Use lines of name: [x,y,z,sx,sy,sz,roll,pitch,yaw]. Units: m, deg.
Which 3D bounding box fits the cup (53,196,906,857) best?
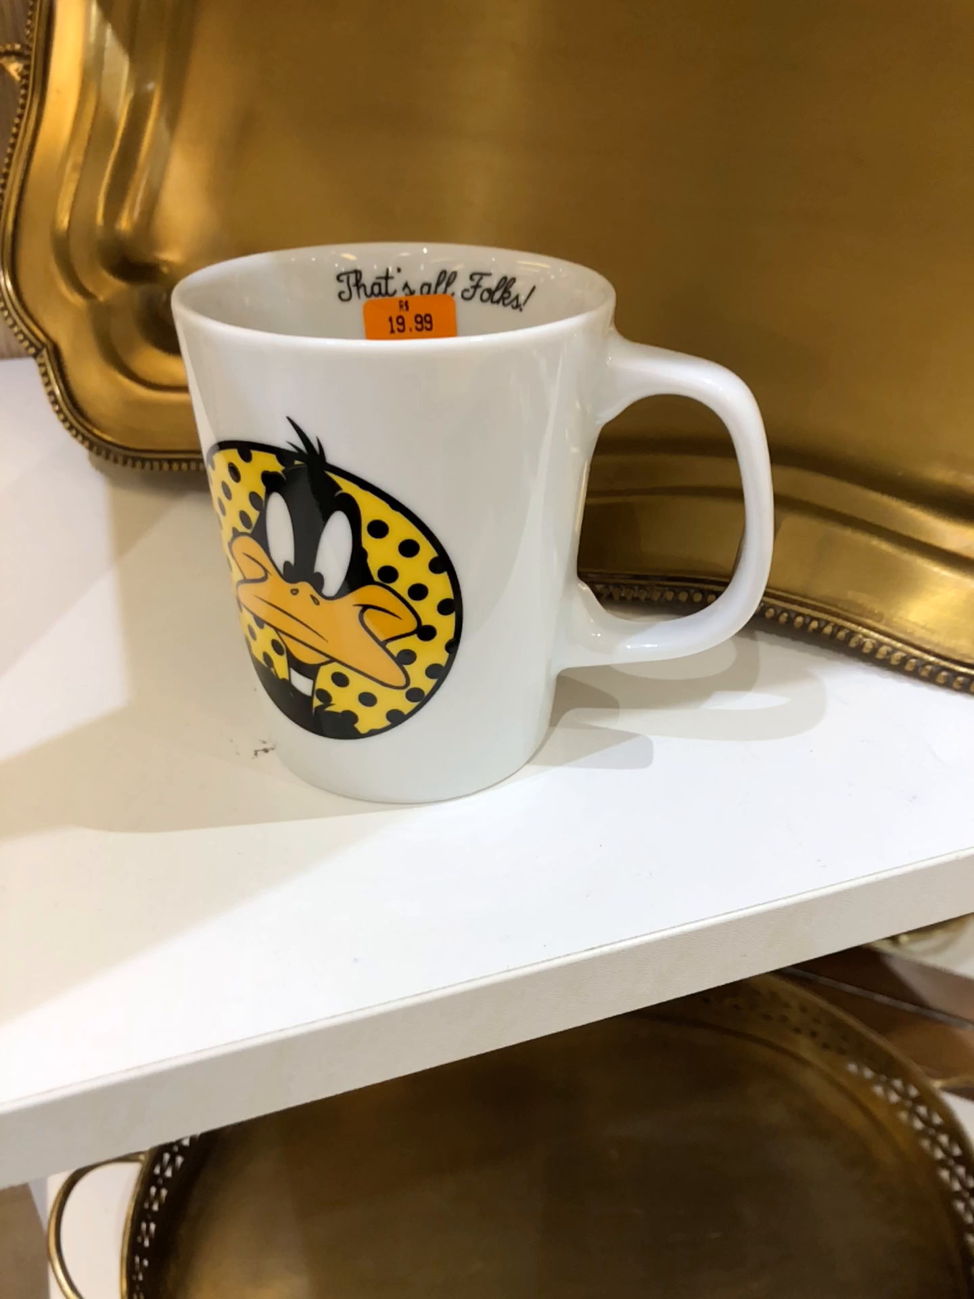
cup: [0.002,-0.031,0.213,0.120,0.089,0.091,5,32,7]
